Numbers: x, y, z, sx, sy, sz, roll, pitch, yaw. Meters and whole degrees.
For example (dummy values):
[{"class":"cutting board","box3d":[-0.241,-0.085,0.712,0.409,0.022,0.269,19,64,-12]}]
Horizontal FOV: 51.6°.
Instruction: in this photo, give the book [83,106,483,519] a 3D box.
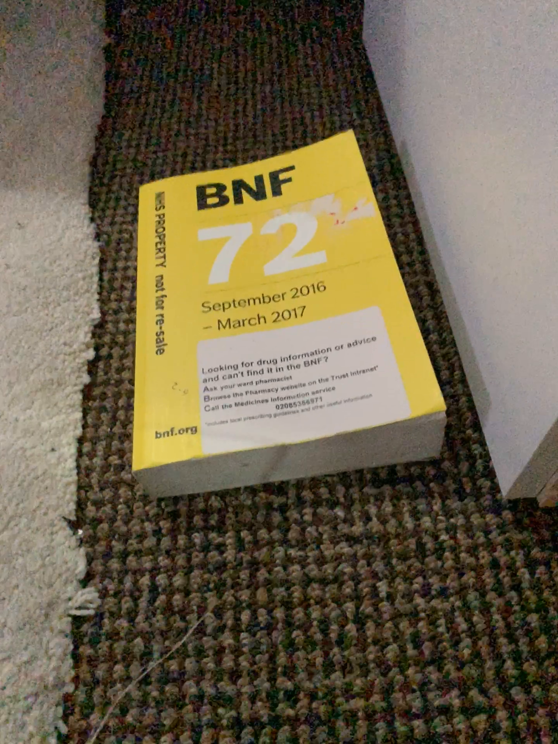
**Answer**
[{"class":"book","box3d":[-0.012,-0.048,0.311,0.160,0.050,0.222,-9,55,-2]}]
